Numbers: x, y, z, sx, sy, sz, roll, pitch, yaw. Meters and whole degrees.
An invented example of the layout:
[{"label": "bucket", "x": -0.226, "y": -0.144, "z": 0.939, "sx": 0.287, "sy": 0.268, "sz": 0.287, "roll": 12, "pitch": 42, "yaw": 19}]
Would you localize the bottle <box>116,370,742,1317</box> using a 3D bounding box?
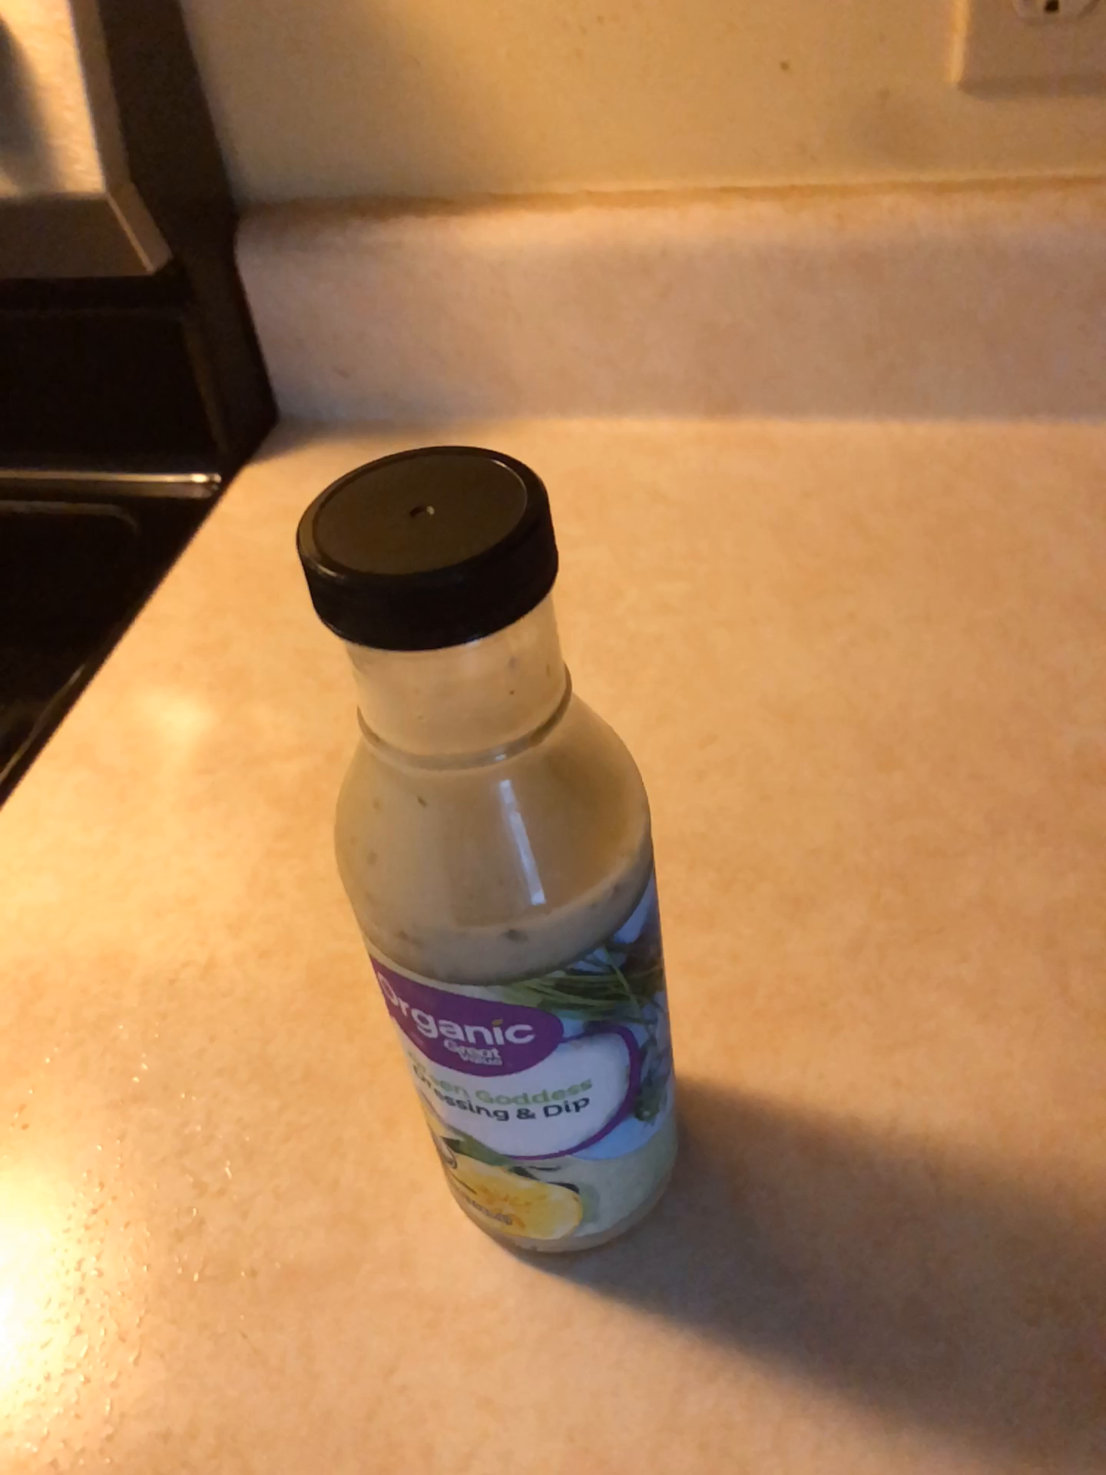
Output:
[{"label": "bottle", "x": -0.007, "y": 0.033, "z": 0.253, "sx": 0.070, "sy": 0.189, "sz": 0.070, "roll": -5, "pitch": 42, "yaw": 4}]
